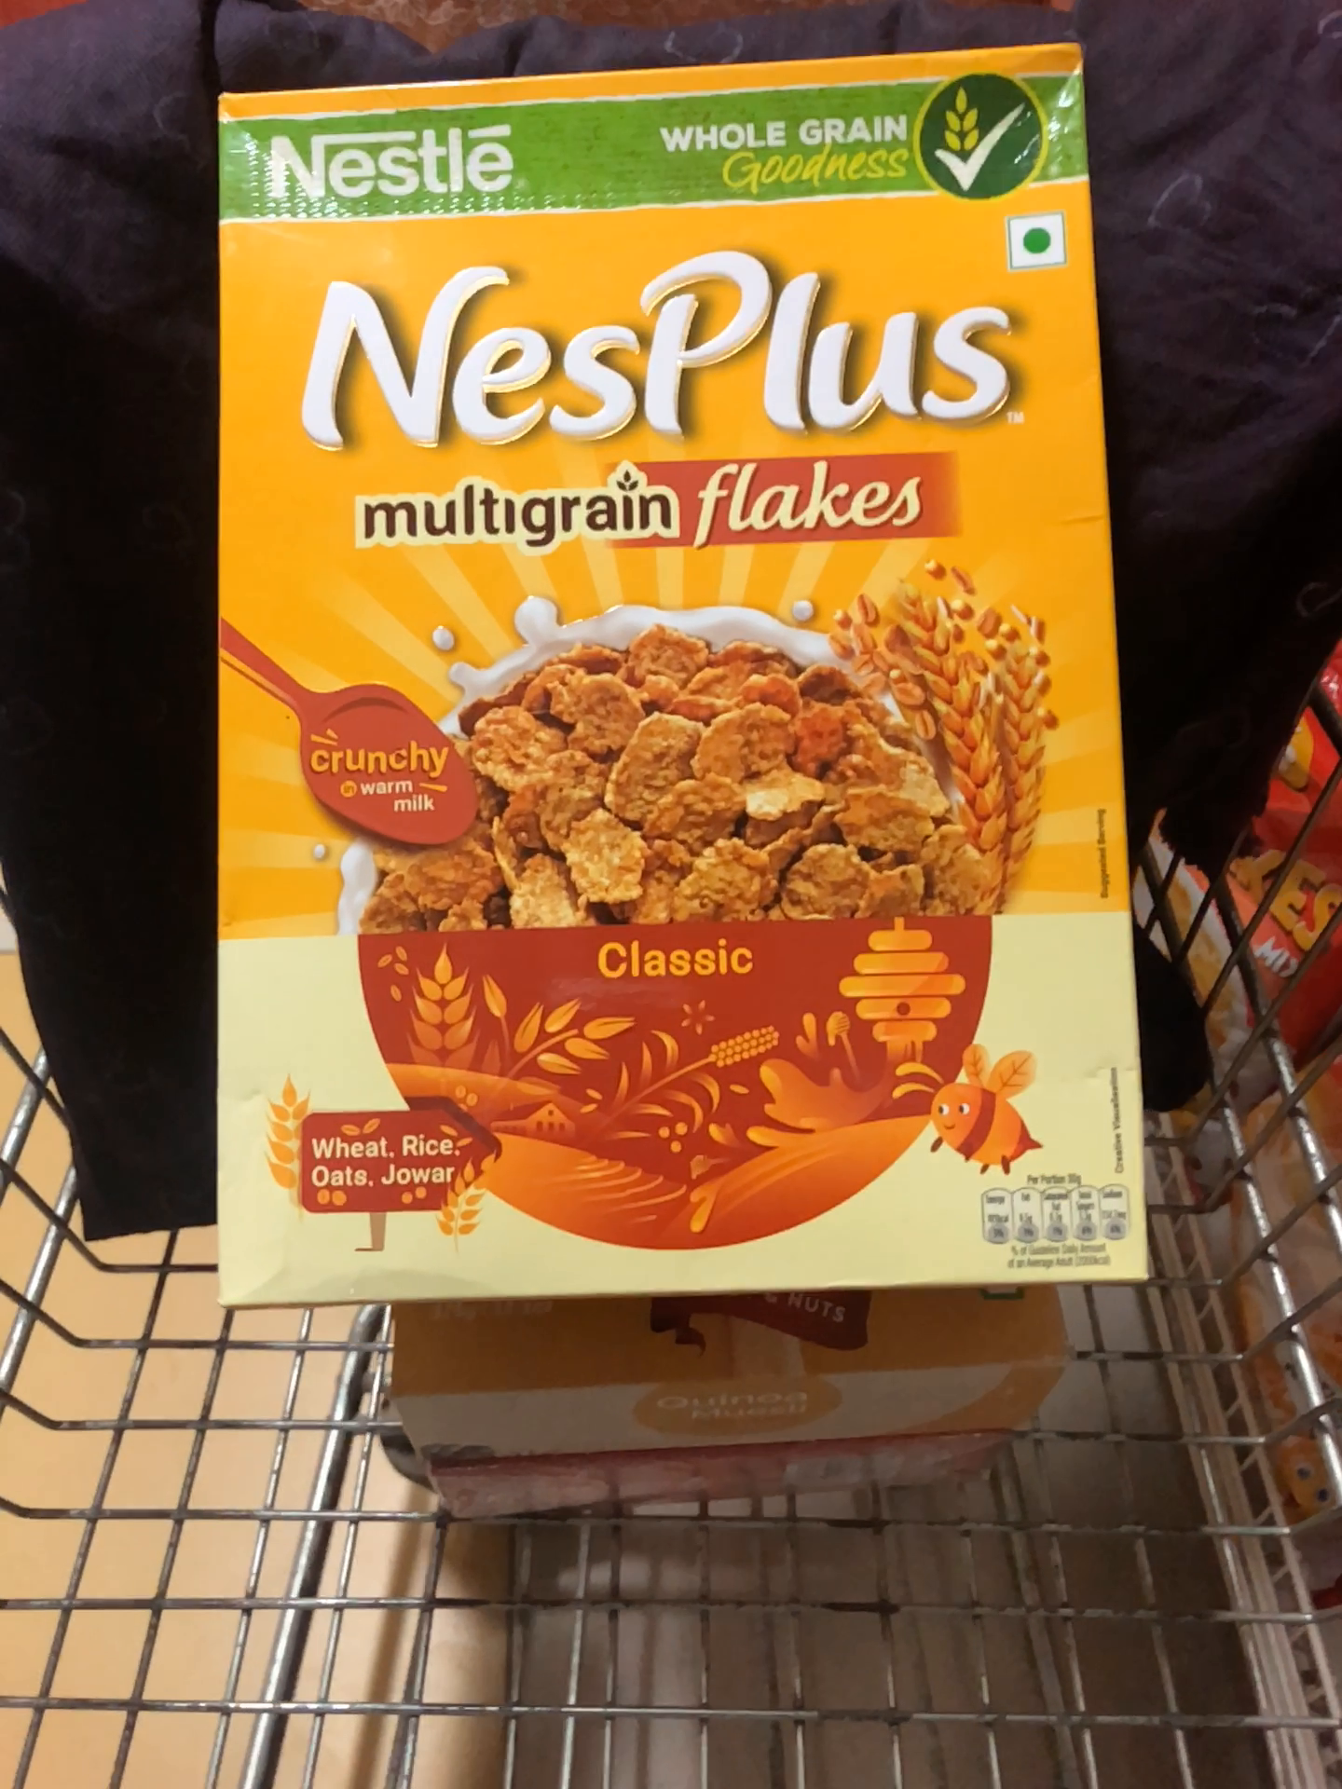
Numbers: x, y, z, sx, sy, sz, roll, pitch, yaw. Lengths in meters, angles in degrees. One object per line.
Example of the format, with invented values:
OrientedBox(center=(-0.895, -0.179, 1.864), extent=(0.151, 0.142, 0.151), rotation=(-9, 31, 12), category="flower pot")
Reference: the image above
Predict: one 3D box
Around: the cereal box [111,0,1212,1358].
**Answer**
OrientedBox(center=(-0.002, -0.051, 0.308), extent=(0.190, 0.080, 0.260), rotation=(-2, 89, -2), category="cereal box")
